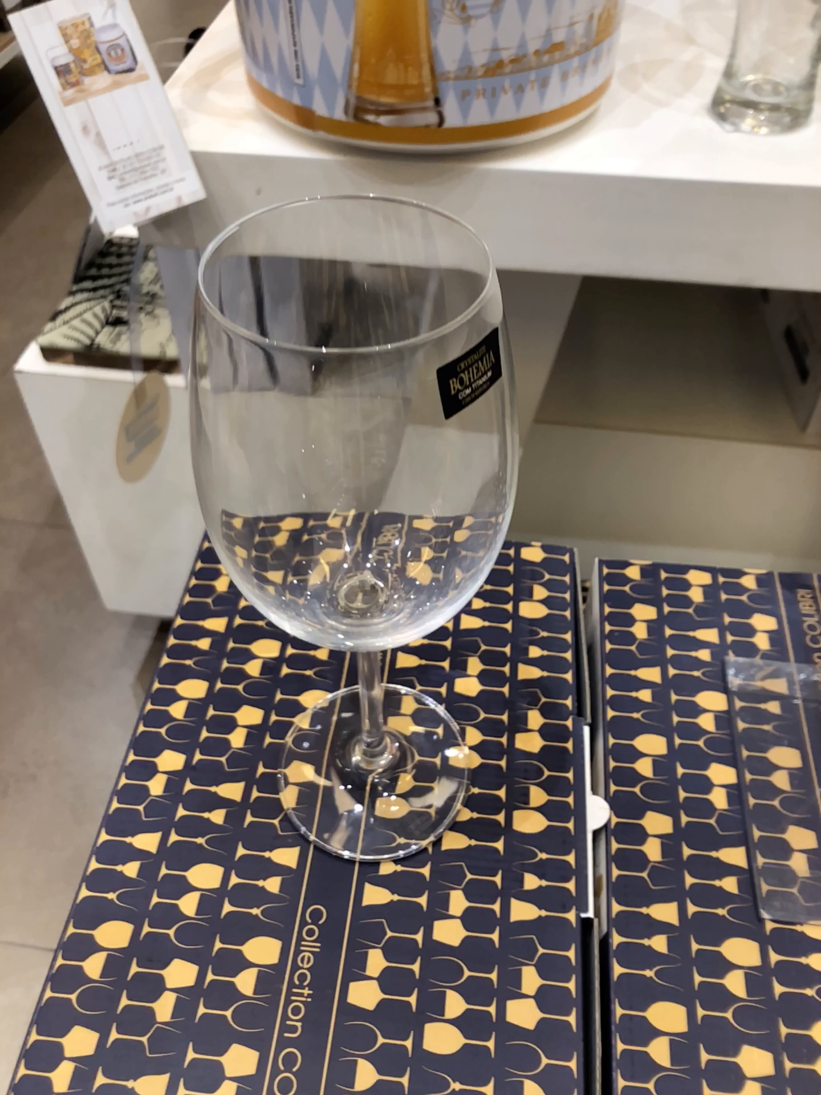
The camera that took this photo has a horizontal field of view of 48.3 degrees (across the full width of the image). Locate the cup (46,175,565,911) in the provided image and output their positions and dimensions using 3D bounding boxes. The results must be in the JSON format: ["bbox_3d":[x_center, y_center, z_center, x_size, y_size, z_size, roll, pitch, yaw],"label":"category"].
[{"bbox_3d":[-0.016,0.015,0.274,0.090,0.209,0.091,0,47,0],"label":"cup"}]
